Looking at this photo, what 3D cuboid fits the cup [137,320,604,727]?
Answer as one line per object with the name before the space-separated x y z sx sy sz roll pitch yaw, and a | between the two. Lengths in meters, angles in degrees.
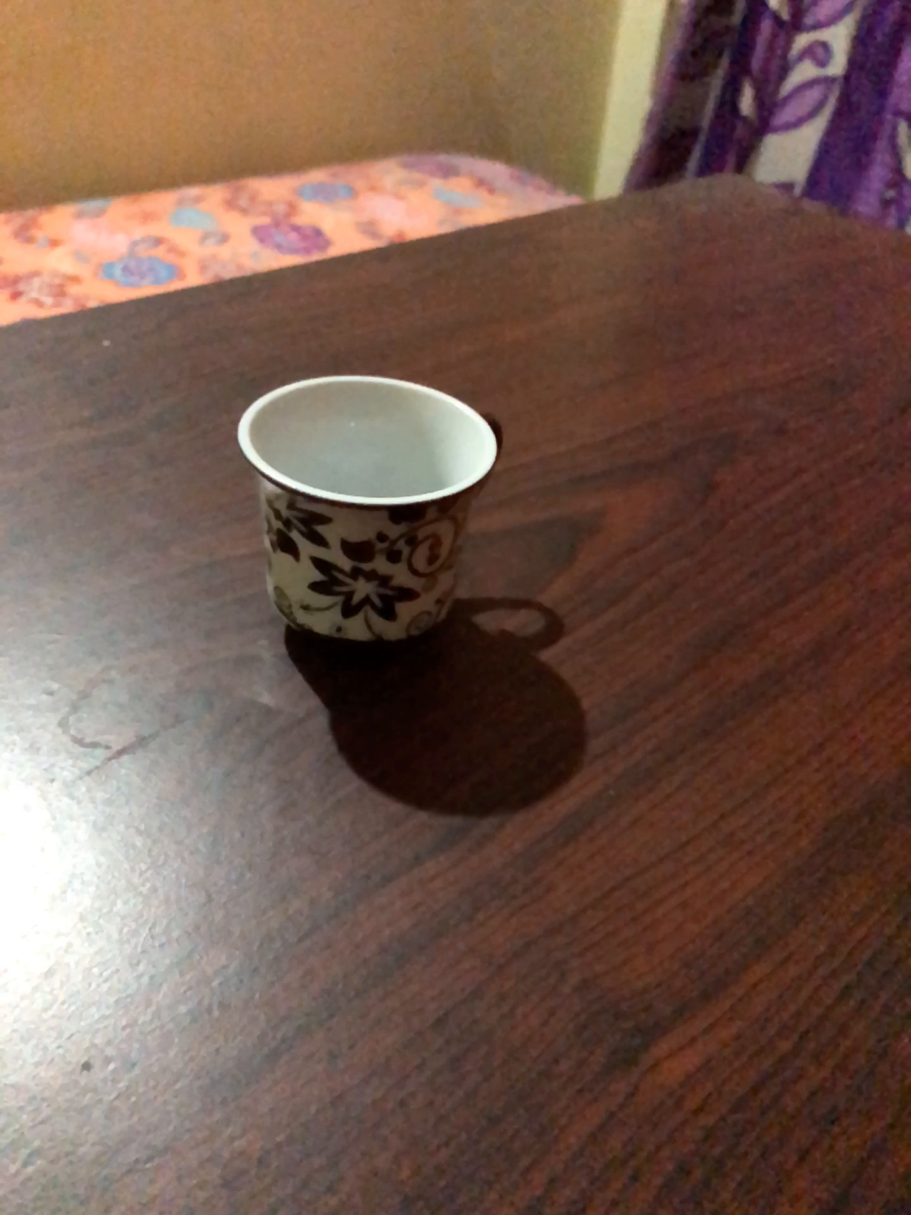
cup | -0.020 -0.028 0.262 0.070 0.050 0.091 31 44 28
